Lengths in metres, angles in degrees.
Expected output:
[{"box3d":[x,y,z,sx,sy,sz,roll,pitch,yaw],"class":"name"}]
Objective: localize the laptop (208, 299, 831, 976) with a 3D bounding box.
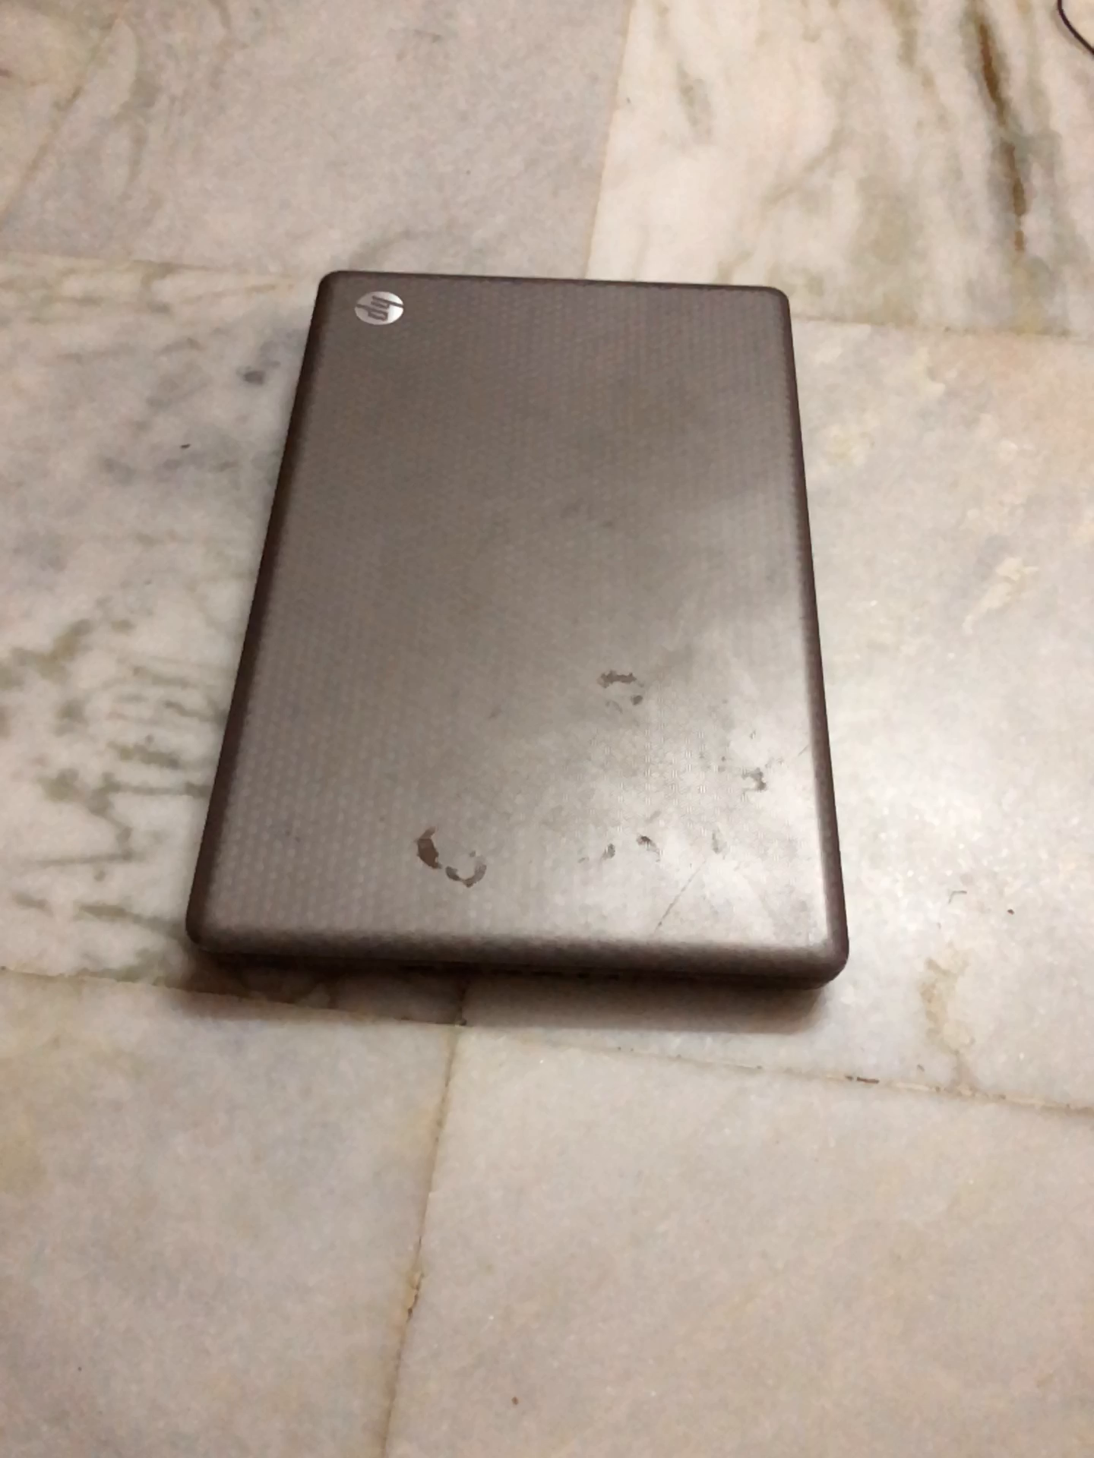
[{"box3d":[-0.002,-0.071,0.576,0.248,0.002,0.379,2,60,1],"class":"laptop"}]
